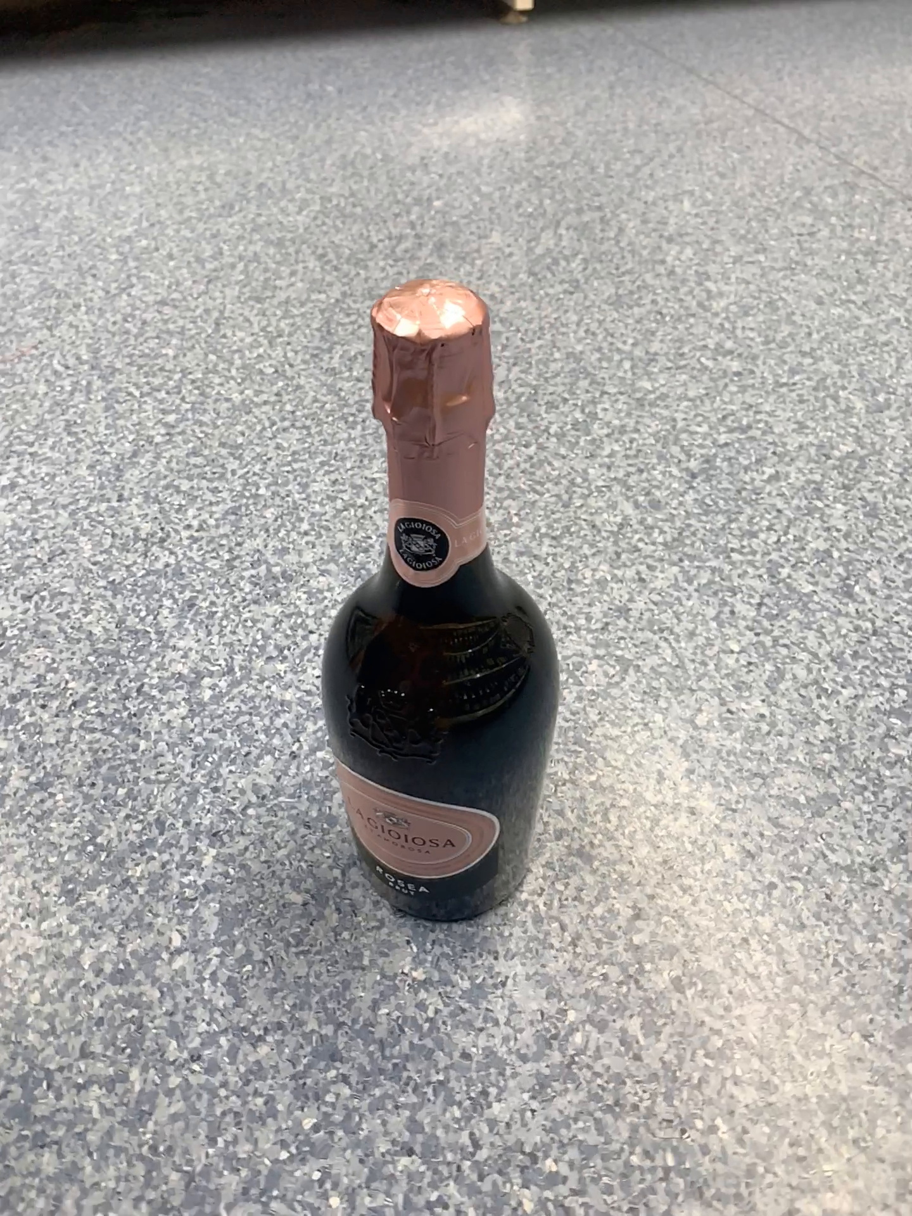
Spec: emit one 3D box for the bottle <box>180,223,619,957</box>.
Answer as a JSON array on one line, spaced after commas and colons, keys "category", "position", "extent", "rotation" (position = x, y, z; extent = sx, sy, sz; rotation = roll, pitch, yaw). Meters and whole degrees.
[{"category": "bottle", "position": [-0.012, 0.014, 0.348], "extent": [0.094, 0.268, 0.079], "rotation": [18, 47, 18]}]
